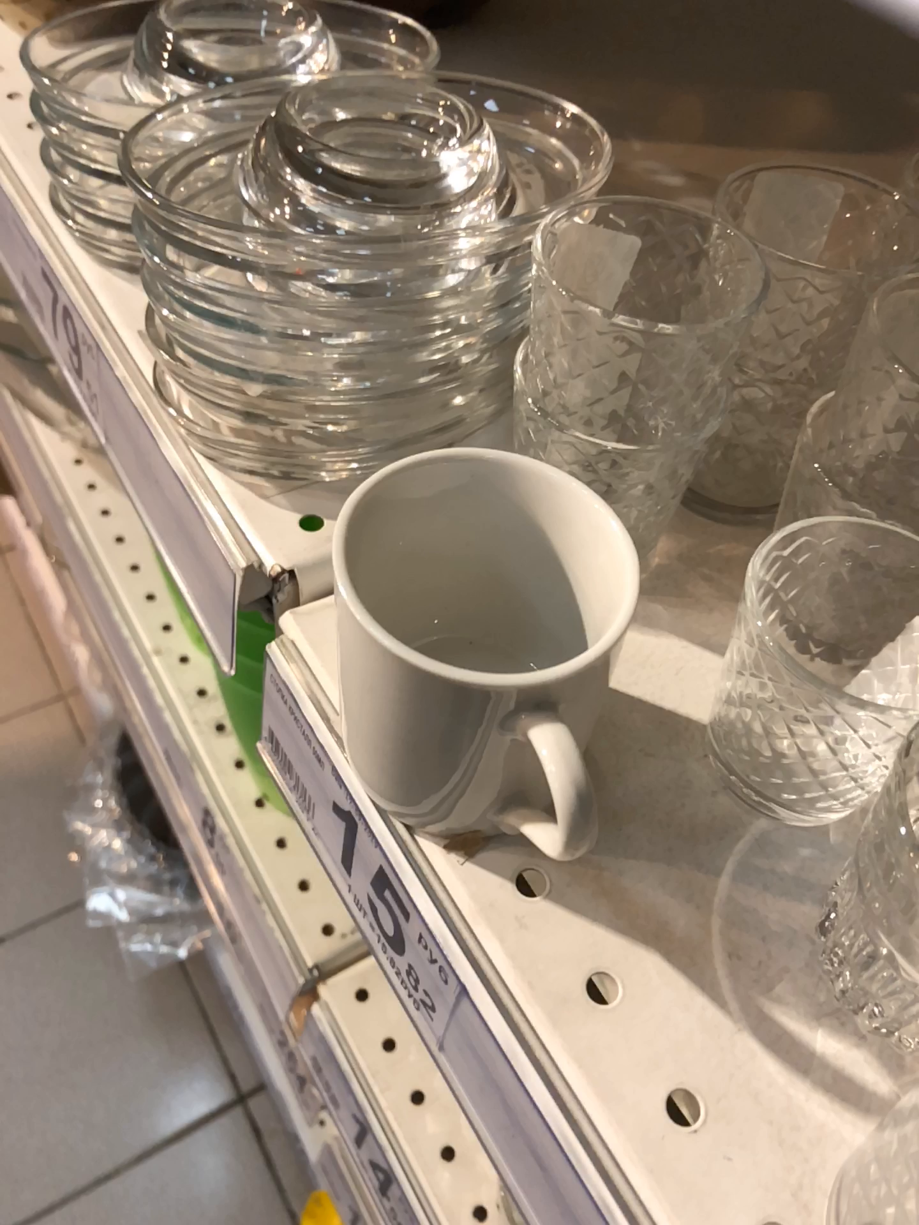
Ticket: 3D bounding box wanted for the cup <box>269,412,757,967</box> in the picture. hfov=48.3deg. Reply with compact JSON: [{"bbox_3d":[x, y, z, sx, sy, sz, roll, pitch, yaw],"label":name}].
[{"bbox_3d":[0.004,0.013,0.201,0.057,0.060,0.075,-18,56,-19],"label":"cup"}]
